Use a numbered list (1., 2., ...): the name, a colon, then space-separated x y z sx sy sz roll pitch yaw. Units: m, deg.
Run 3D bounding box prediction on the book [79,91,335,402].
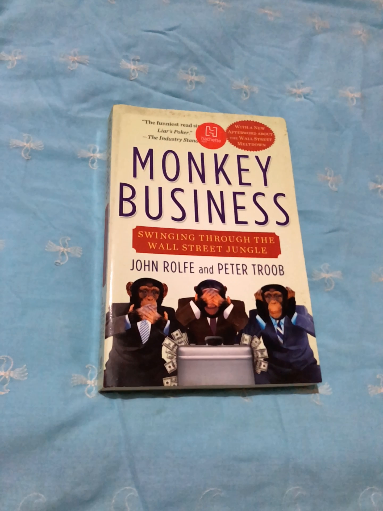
1. book: 0.012 -0.012 0.343 0.170 0.040 0.240 5 67 -10
